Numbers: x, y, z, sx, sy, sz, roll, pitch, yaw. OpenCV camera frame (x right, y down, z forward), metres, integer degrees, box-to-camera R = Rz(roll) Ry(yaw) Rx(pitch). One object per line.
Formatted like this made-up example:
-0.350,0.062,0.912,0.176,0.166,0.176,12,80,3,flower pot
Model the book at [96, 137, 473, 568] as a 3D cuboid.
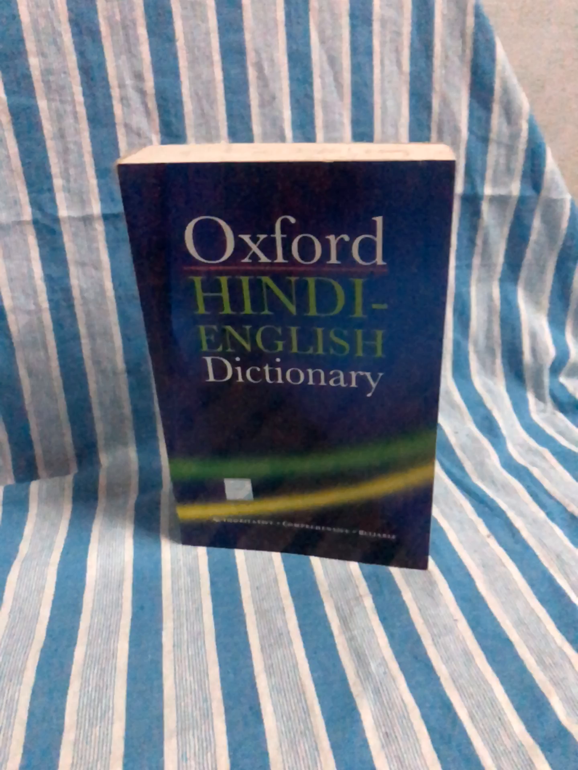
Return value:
0.002,-0.009,0.307,0.140,0.199,0.050,3,32,9,book
